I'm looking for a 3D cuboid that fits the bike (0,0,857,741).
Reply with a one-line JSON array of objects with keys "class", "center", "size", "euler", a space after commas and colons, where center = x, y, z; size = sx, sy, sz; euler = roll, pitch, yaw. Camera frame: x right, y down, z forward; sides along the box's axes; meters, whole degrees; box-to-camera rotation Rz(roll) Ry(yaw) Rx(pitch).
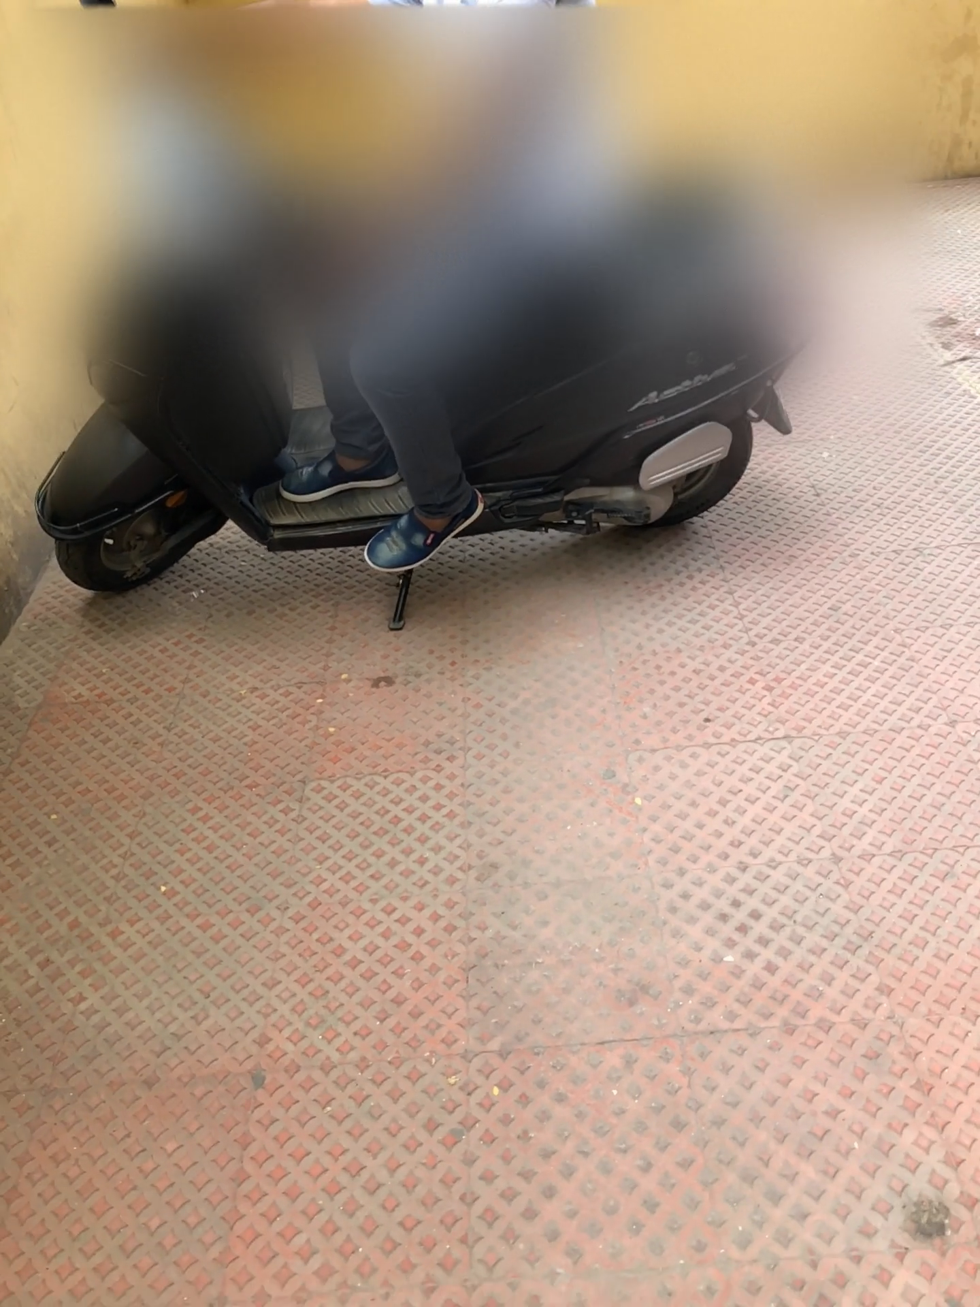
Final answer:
[{"class": "bike", "center": [-0.203, -0.584, 2.121], "size": [1.546, 1.016, 0.697], "euler": [-10, 35, -2]}]
